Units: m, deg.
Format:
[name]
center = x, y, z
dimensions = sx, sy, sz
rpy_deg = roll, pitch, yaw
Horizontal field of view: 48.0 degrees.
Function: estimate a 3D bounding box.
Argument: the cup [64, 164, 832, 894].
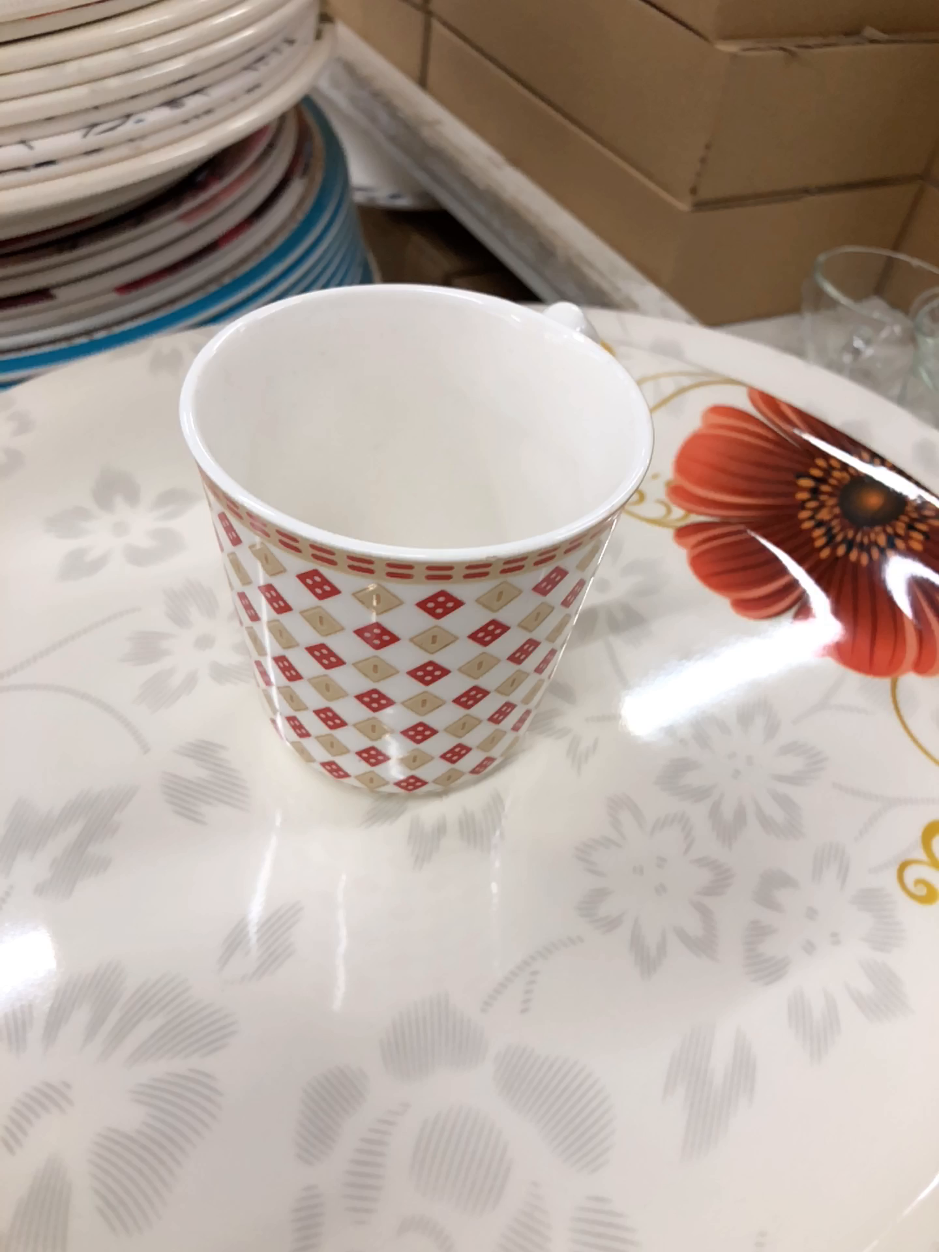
[cup]
center = -0.002, -0.028, 0.221
dimensions = 0.080, 0.080, 0.121
rpy_deg = 36, 52, 24
